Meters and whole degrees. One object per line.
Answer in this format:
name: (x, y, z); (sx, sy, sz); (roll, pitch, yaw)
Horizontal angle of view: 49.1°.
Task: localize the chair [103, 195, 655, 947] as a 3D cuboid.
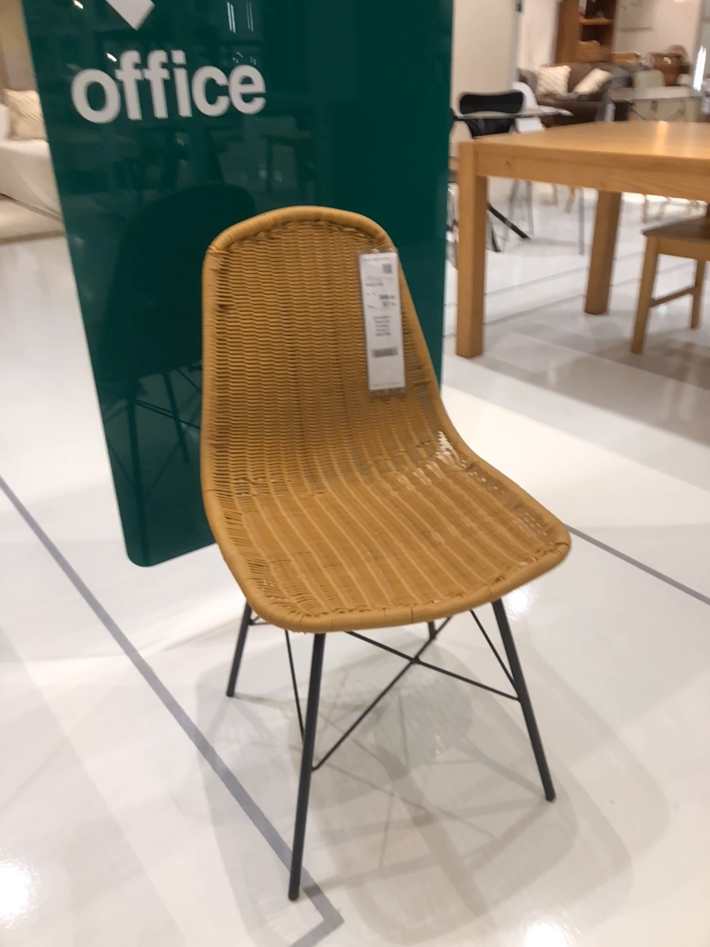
chair: (-0.015, 0.100, 1.154); (0.490, 0.864, 0.574); (-12, 29, -19)
